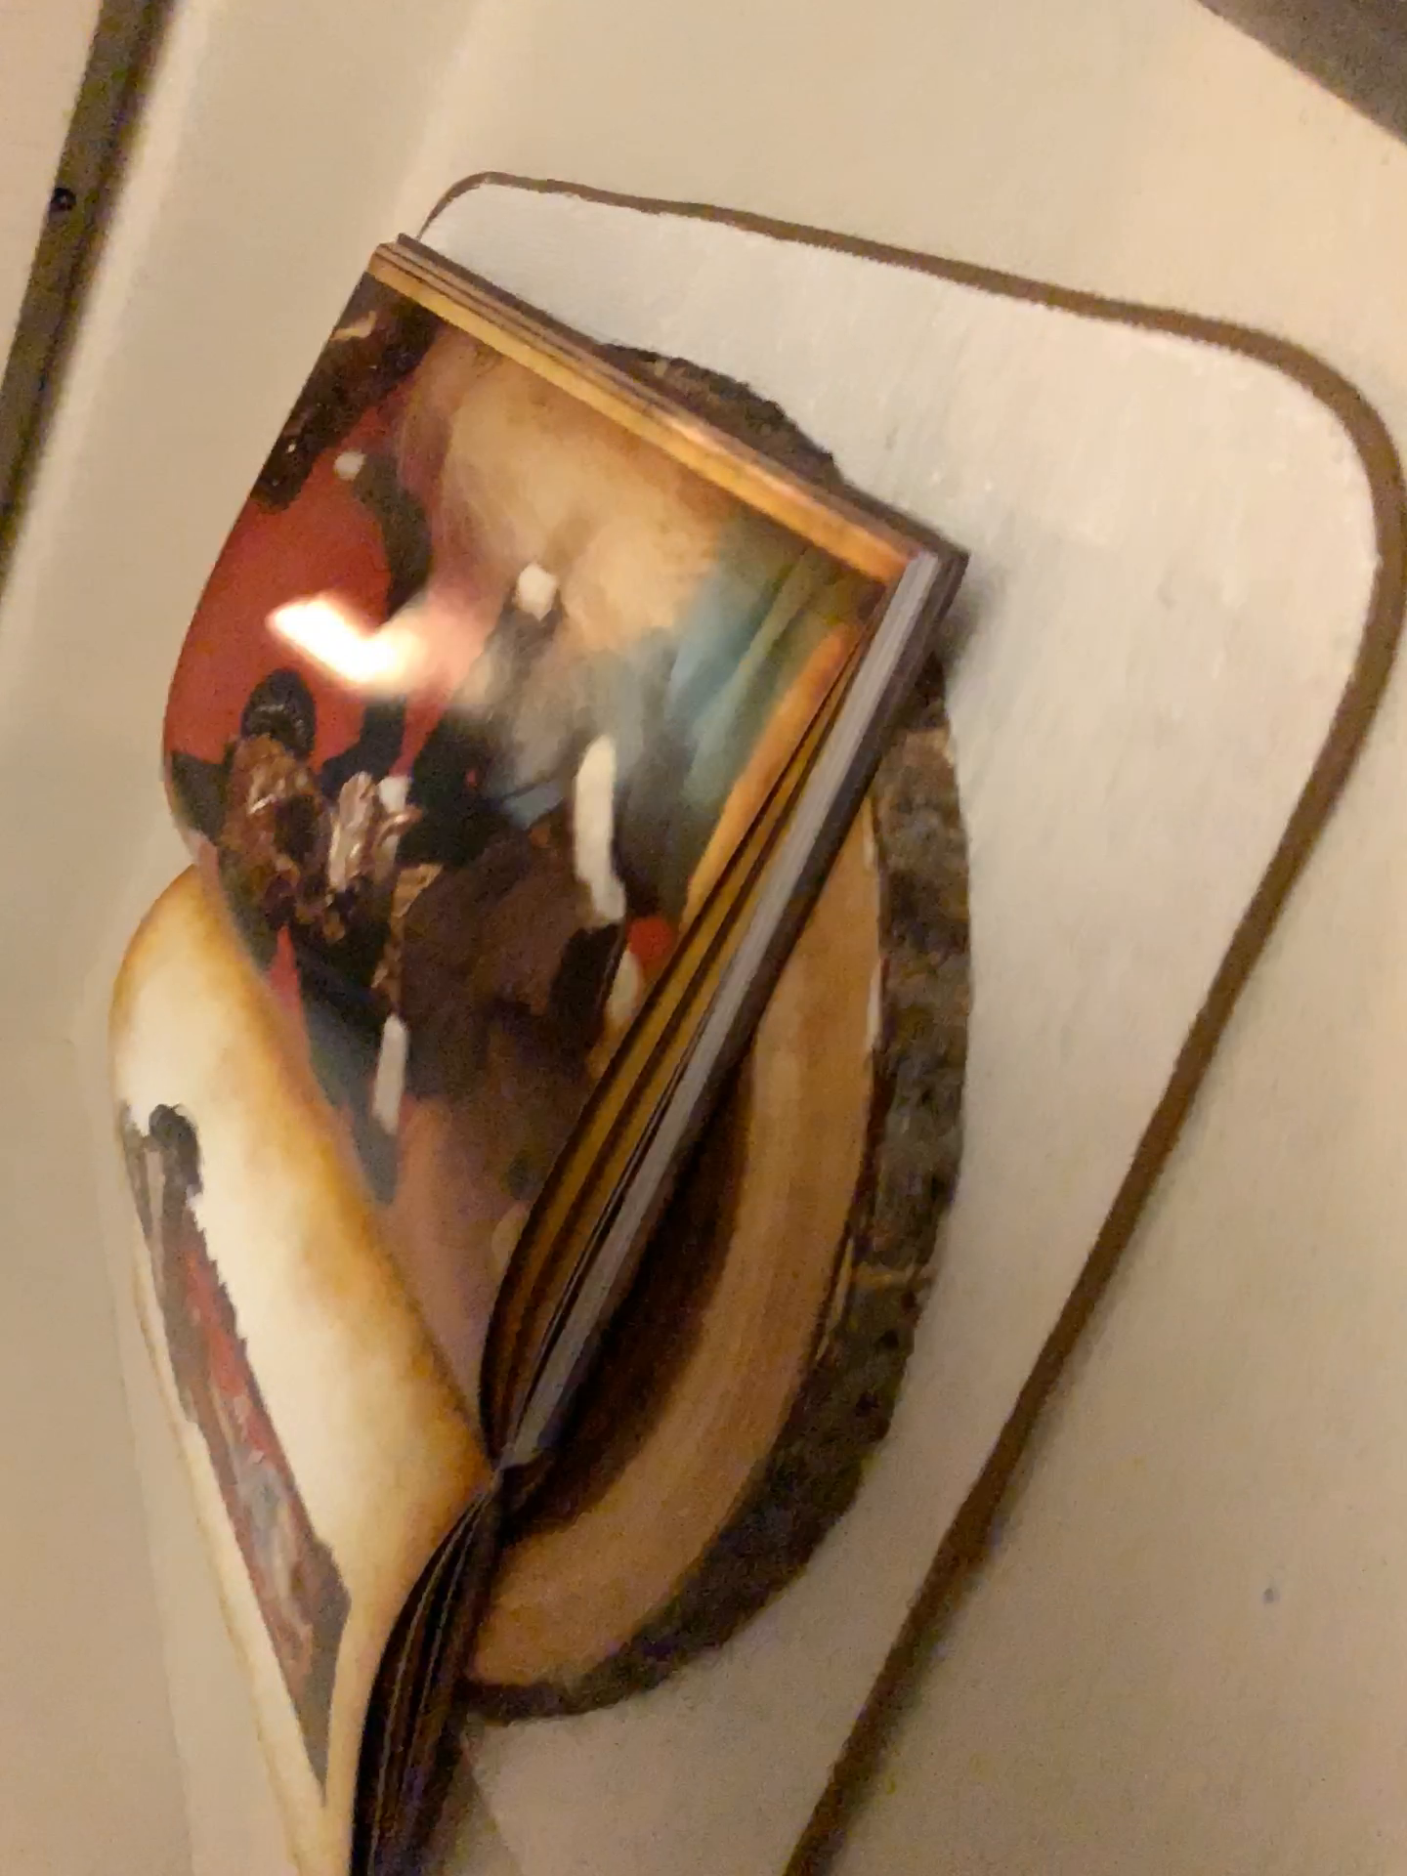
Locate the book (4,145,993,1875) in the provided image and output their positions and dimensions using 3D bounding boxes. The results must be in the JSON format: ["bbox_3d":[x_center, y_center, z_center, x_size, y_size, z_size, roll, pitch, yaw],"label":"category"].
[{"bbox_3d":[-0.125,0.039,0.471,0.340,0.040,0.470,47,123,47],"label":"book"}]
